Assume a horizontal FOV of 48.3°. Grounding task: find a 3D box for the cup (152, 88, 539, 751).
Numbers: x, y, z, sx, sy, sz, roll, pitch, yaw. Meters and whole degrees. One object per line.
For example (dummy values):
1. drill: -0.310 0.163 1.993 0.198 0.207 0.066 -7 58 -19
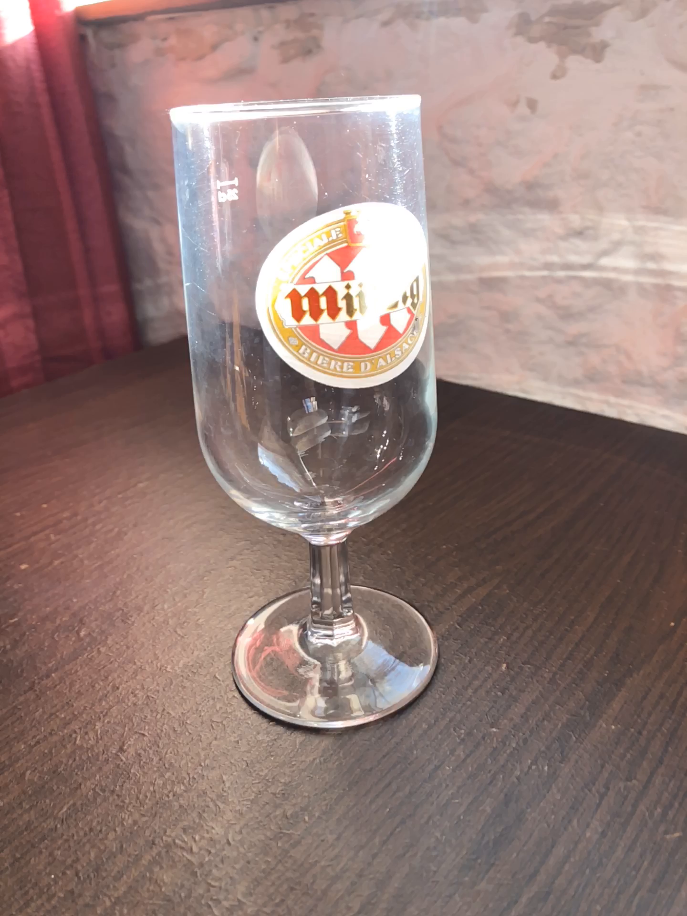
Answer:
1. cup: 0.000 -0.014 0.211 0.067 0.155 0.070 -2 24 1
